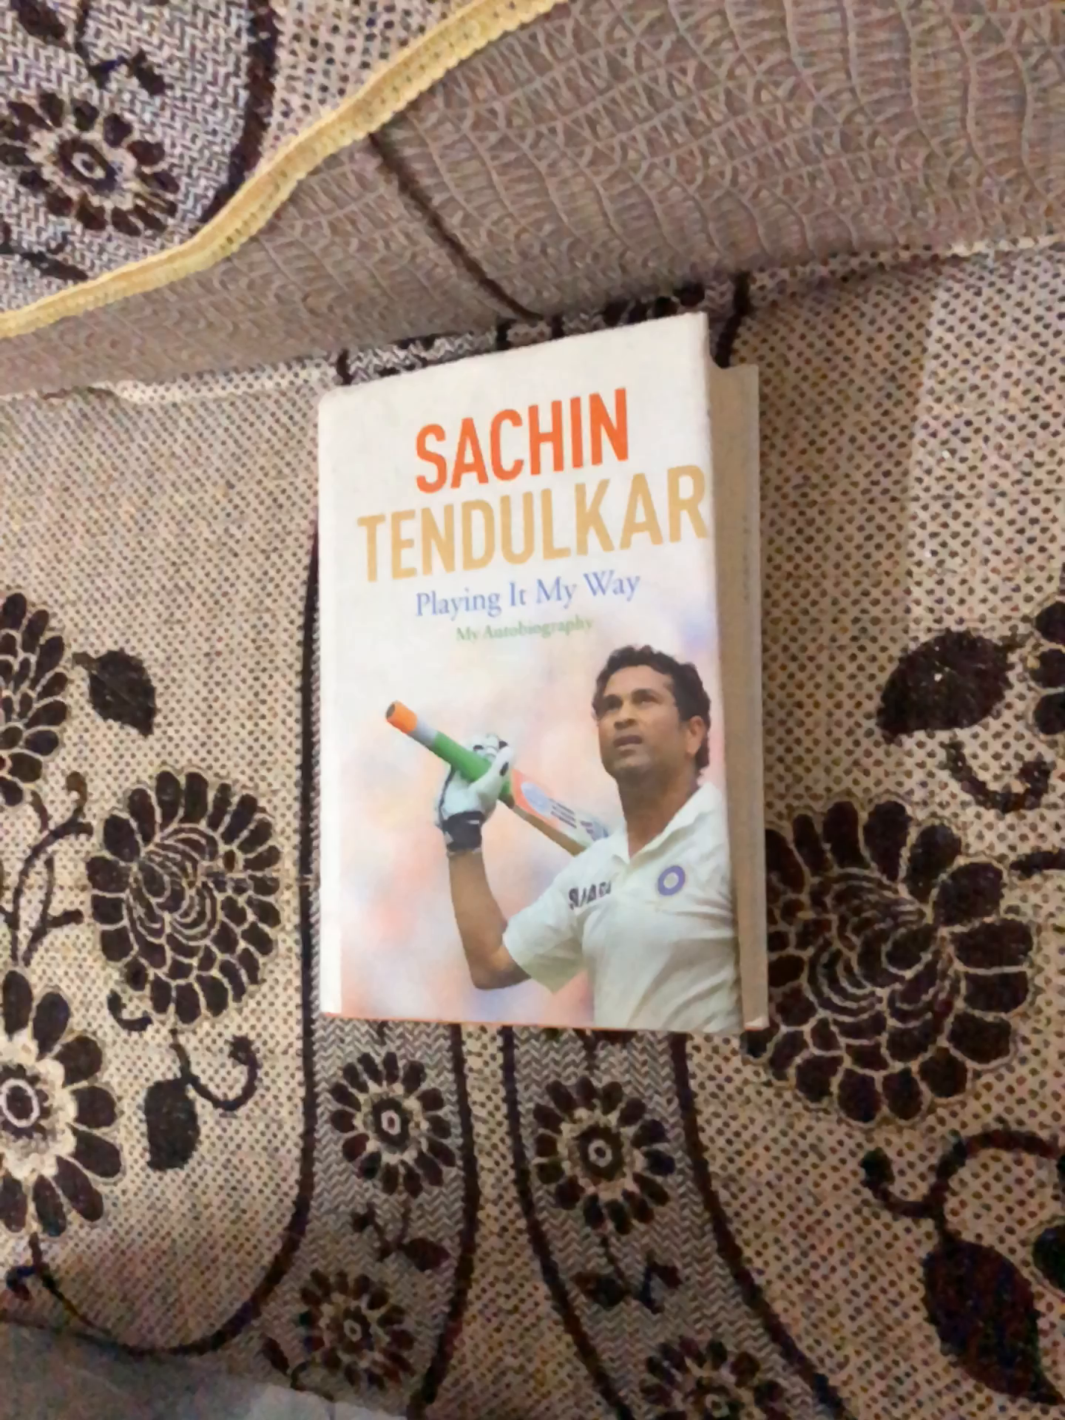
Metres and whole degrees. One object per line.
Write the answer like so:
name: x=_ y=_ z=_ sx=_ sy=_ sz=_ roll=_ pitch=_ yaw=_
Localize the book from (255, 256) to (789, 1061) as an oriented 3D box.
book: x=-0.005 y=-0.013 z=0.442 sx=0.180 sy=0.070 sz=0.260 roll=-3 pitch=82 yaw=23
